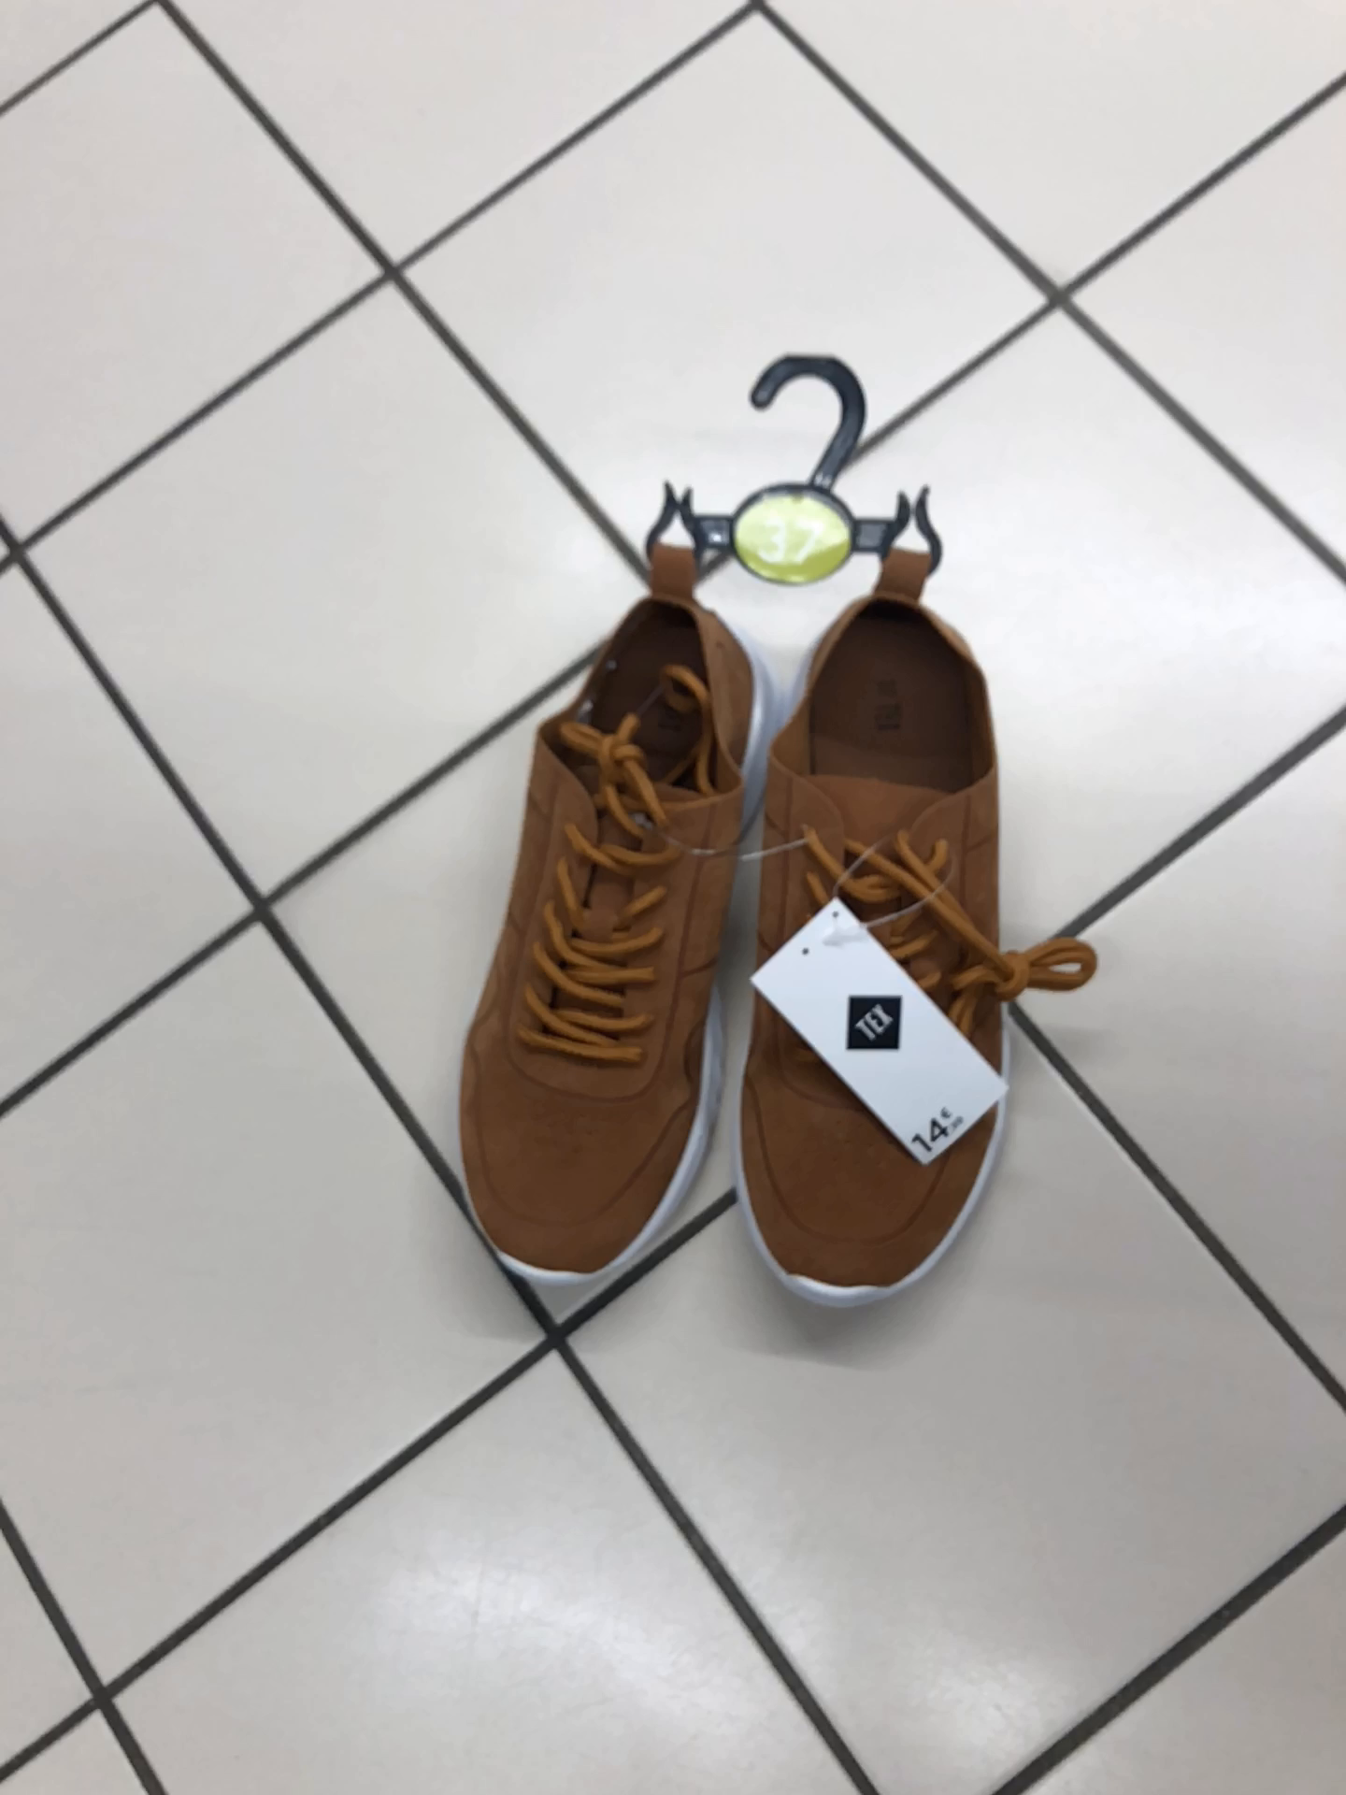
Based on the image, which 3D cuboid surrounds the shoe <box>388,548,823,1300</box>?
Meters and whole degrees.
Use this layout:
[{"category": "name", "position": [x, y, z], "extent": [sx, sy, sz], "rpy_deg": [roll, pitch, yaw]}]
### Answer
[{"category": "shoe", "position": [-0.013, 0.012, 0.496], "extent": [0.090, 0.100, 0.220], "rpy_deg": [8, 77, 10]}]

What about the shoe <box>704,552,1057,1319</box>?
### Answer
[{"category": "shoe", "position": [0.071, 0.015, 0.498], "extent": [0.090, 0.100, 0.230], "rpy_deg": [4, 77, 9]}]
